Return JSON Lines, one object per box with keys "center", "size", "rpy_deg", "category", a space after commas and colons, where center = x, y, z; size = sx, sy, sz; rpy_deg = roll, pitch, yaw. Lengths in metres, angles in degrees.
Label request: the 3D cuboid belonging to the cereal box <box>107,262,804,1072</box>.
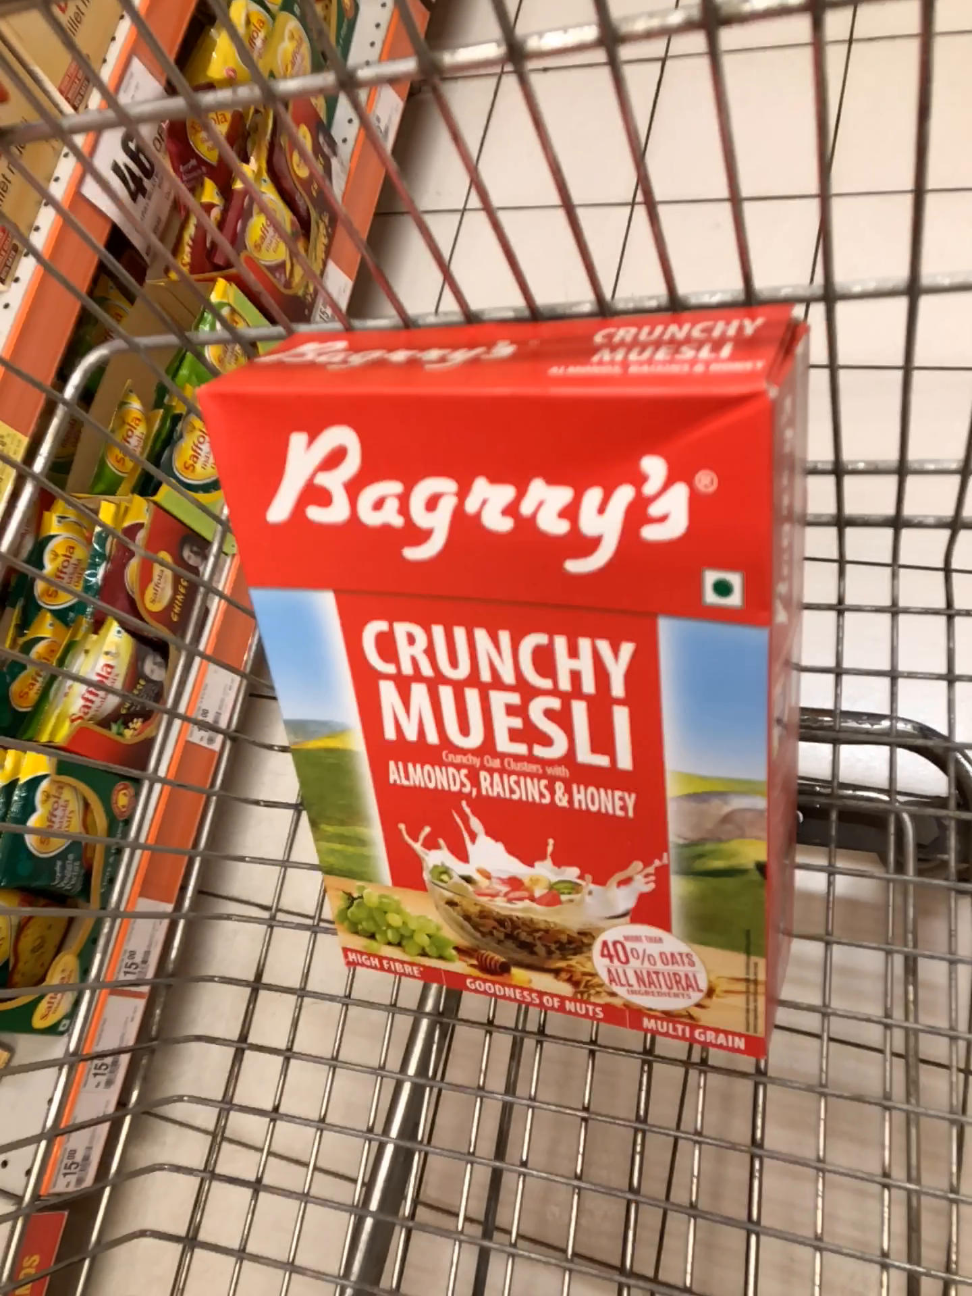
{"center": [0.008, 0.020, 0.379], "size": [0.190, 0.279, 0.060], "rpy_deg": [5, 37, 21], "category": "cereal box"}
